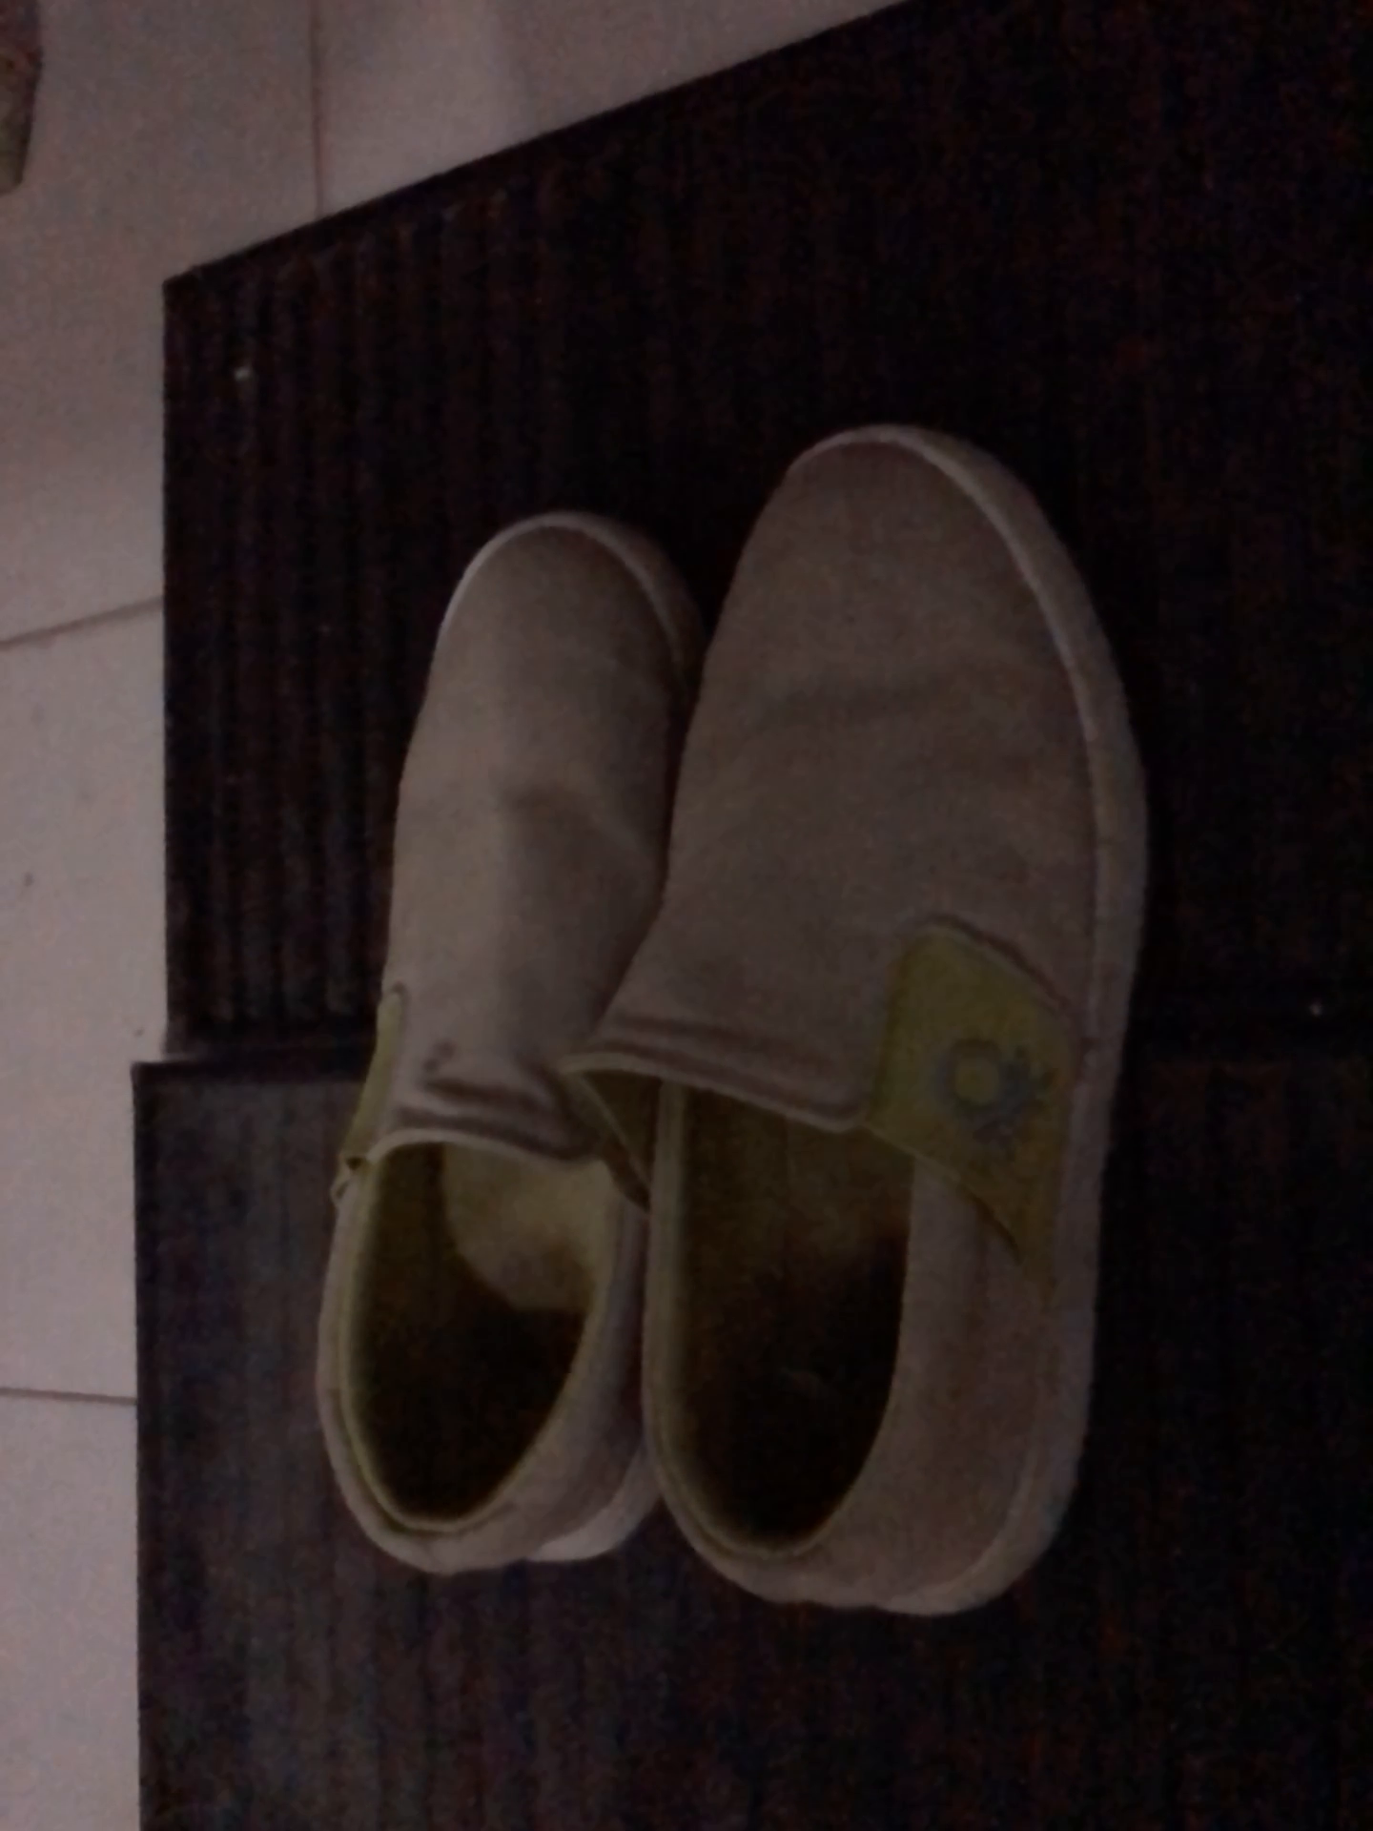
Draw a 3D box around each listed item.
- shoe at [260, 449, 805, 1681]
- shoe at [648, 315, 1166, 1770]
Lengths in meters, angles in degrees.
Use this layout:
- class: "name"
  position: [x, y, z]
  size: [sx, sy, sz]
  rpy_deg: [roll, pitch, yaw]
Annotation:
- class: "shoe"
  position: [-0.040, 0.037, 0.443]
  size: [0.120, 0.090, 0.300]
  rpy_deg: [-2, 85, 29]
- class: "shoe"
  position: [0.063, 0.028, 0.414]
  size: [0.110, 0.090, 0.330]
  rpy_deg: [-2, 85, 29]
